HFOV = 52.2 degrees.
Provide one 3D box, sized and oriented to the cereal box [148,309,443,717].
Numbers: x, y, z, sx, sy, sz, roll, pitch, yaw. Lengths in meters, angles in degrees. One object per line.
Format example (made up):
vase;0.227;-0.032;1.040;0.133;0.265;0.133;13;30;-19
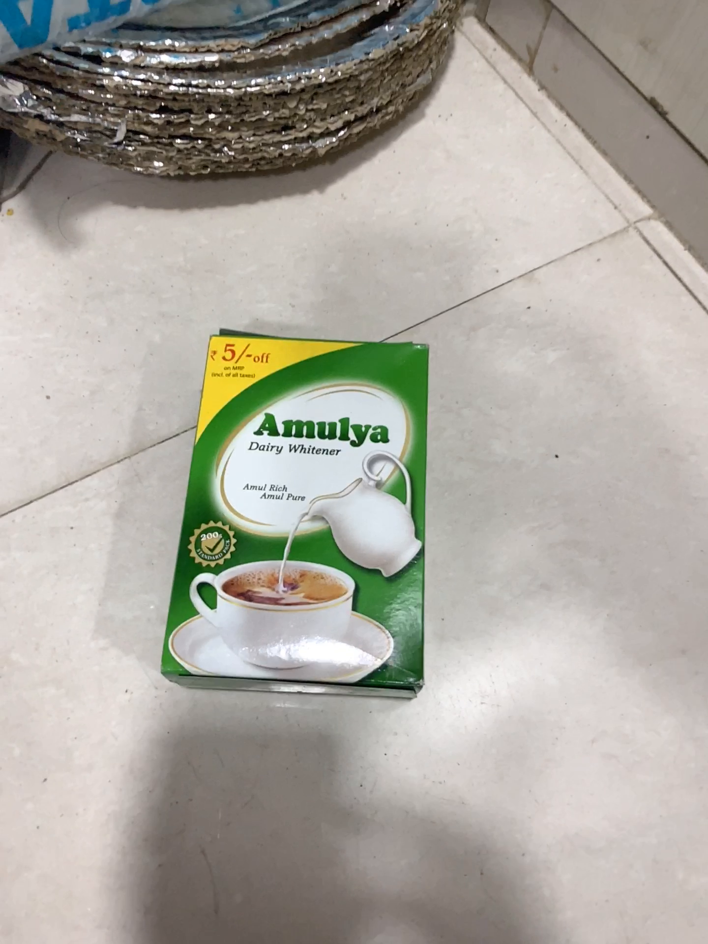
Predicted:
cereal box;-0.016;0.016;0.278;0.090;0.060;0.140;3;68;0
